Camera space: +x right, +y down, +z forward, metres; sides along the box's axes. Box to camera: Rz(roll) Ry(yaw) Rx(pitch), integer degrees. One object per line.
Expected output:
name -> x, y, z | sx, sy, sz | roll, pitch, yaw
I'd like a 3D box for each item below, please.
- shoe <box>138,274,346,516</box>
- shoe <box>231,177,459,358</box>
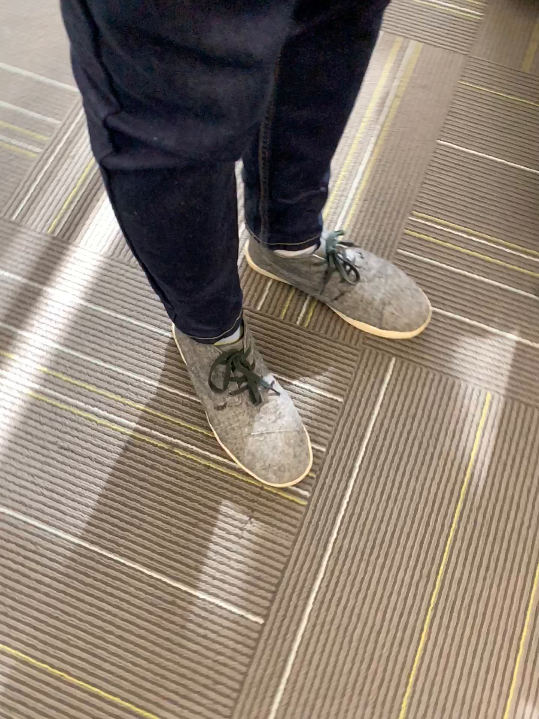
shoe -> -0.043, 0.045, 0.754 | 0.134, 0.087, 0.299 | -31, 71, -12
shoe -> 0.107, -0.140, 0.825 | 0.301, 0.087, 0.134 | 27, 71, 10
